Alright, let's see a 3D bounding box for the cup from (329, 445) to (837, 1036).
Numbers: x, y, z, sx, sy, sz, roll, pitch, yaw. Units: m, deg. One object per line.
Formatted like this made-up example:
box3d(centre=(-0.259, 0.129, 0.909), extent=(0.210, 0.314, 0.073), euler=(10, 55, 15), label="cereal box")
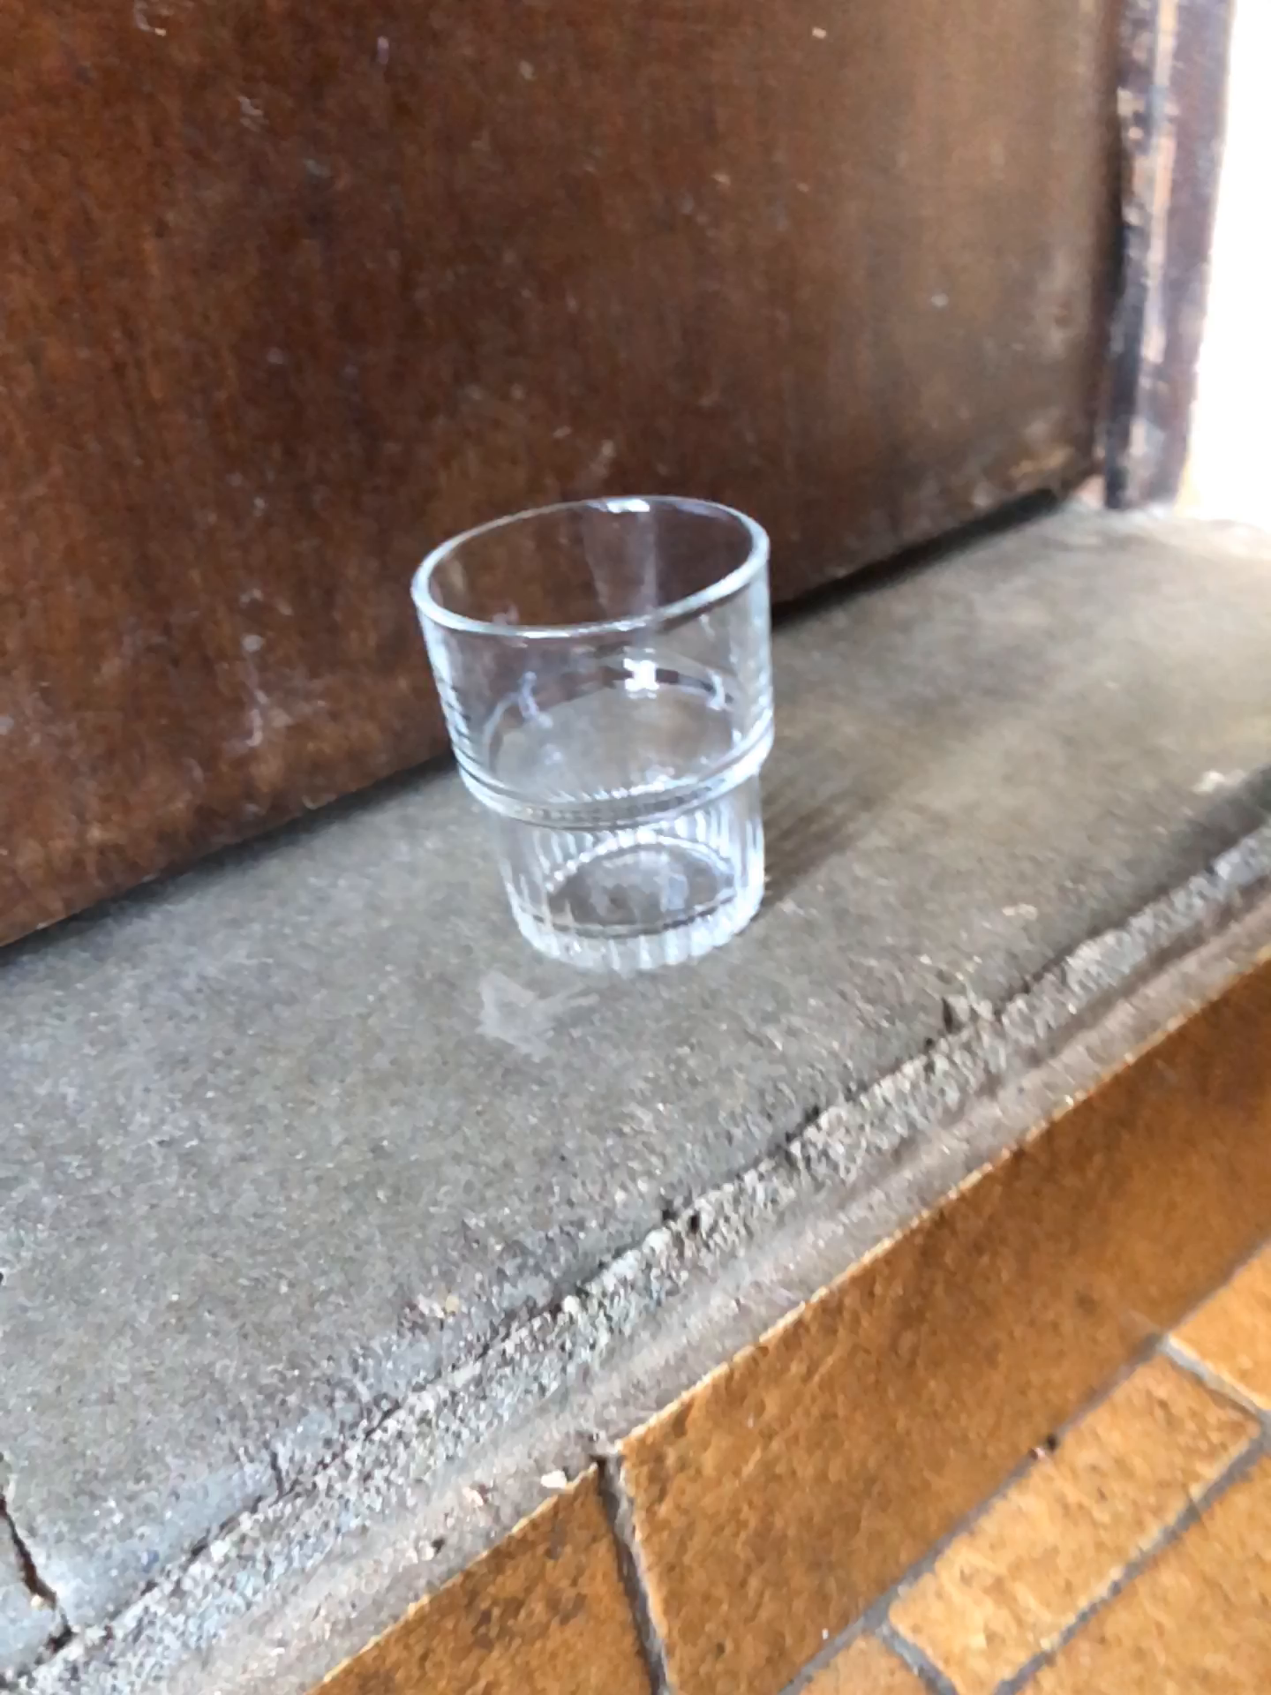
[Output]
box3d(centre=(-0.010, -0.025, 0.281), extent=(0.070, 0.080, 0.070), euler=(-6, 31, 3), label="cup")
